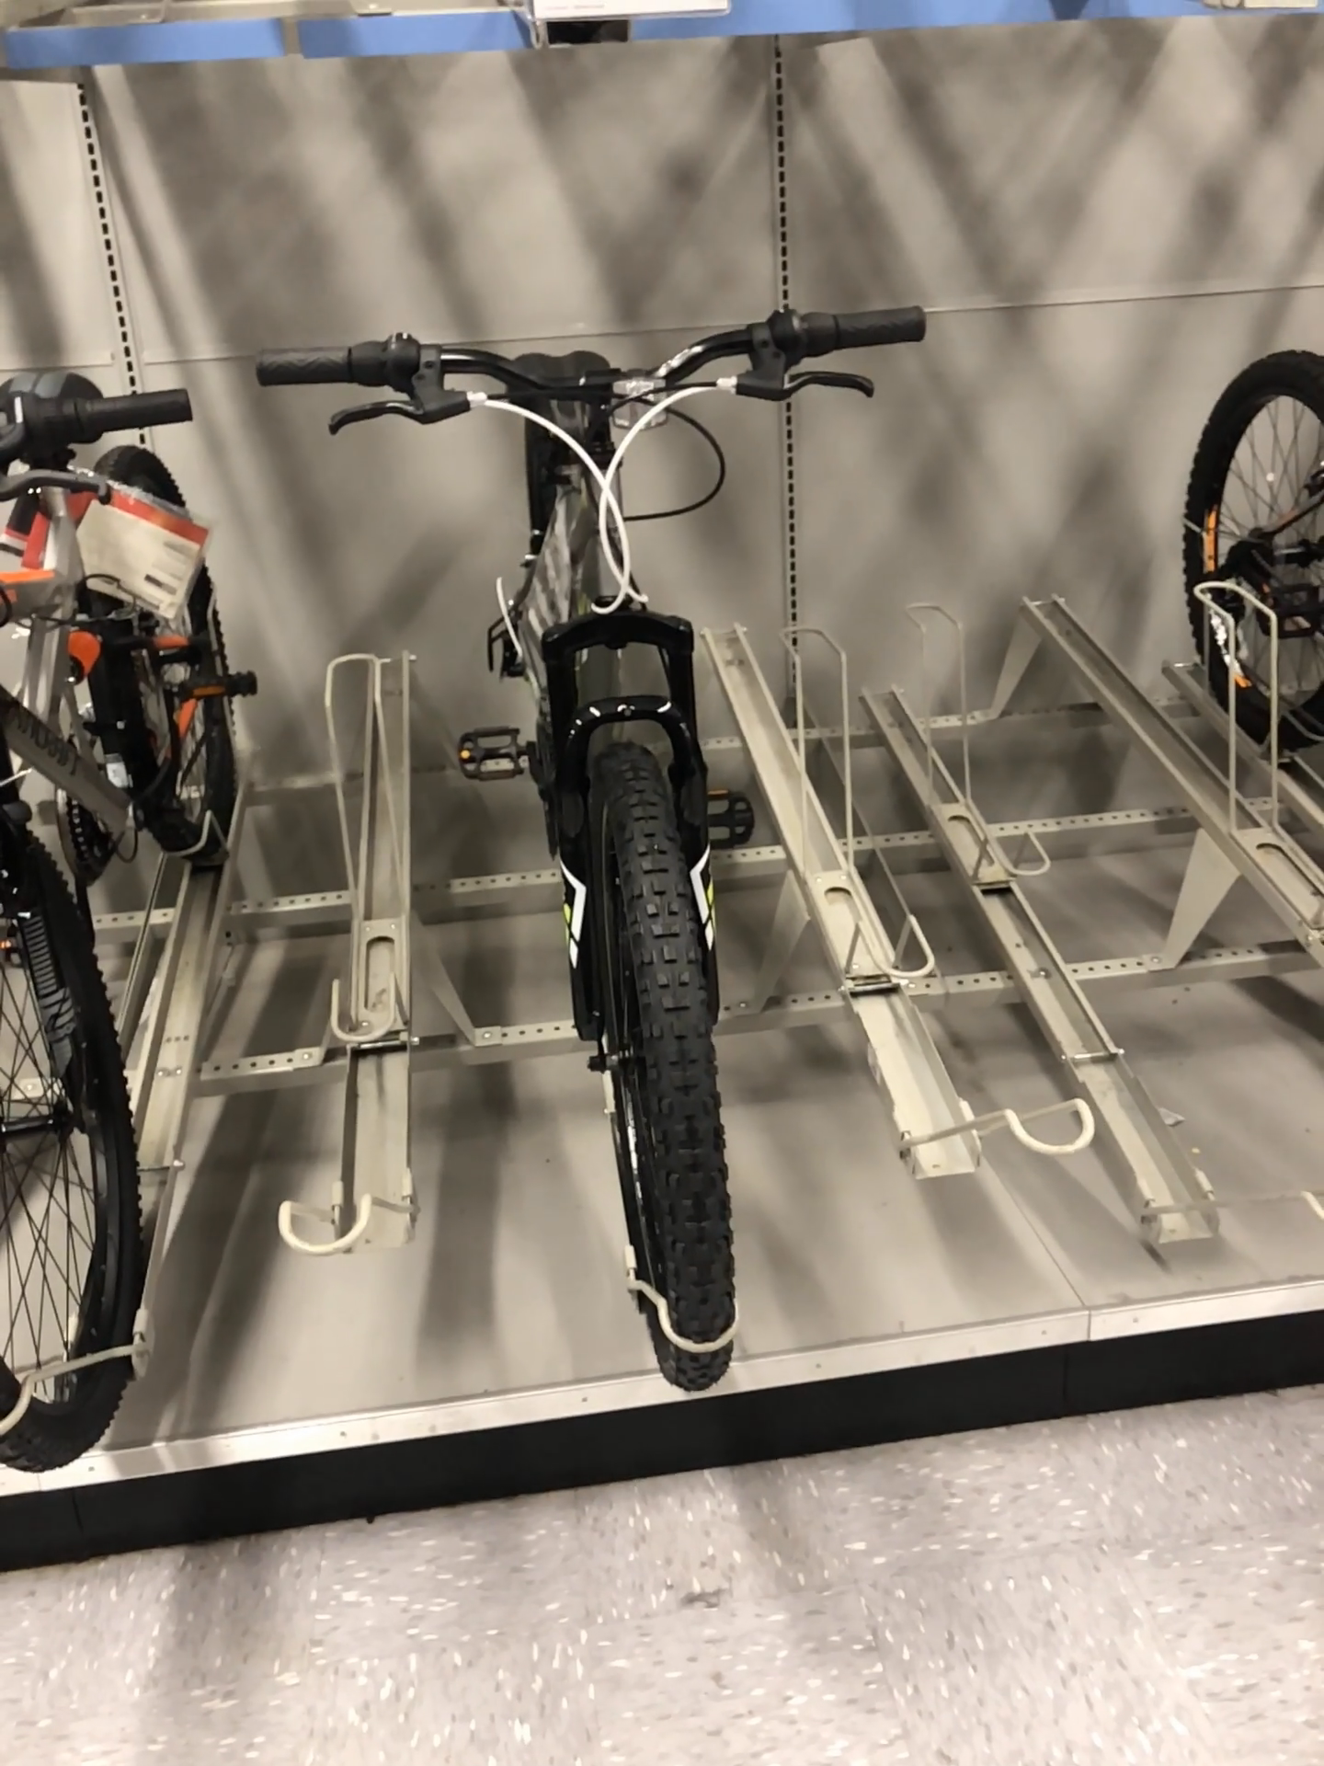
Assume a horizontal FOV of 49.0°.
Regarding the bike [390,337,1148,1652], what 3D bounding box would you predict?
[{"bbox_3d":[-0.007,-0.118,1.990,0.607,0.729,1.726,-6,32,-5],"label":"bike"}]
